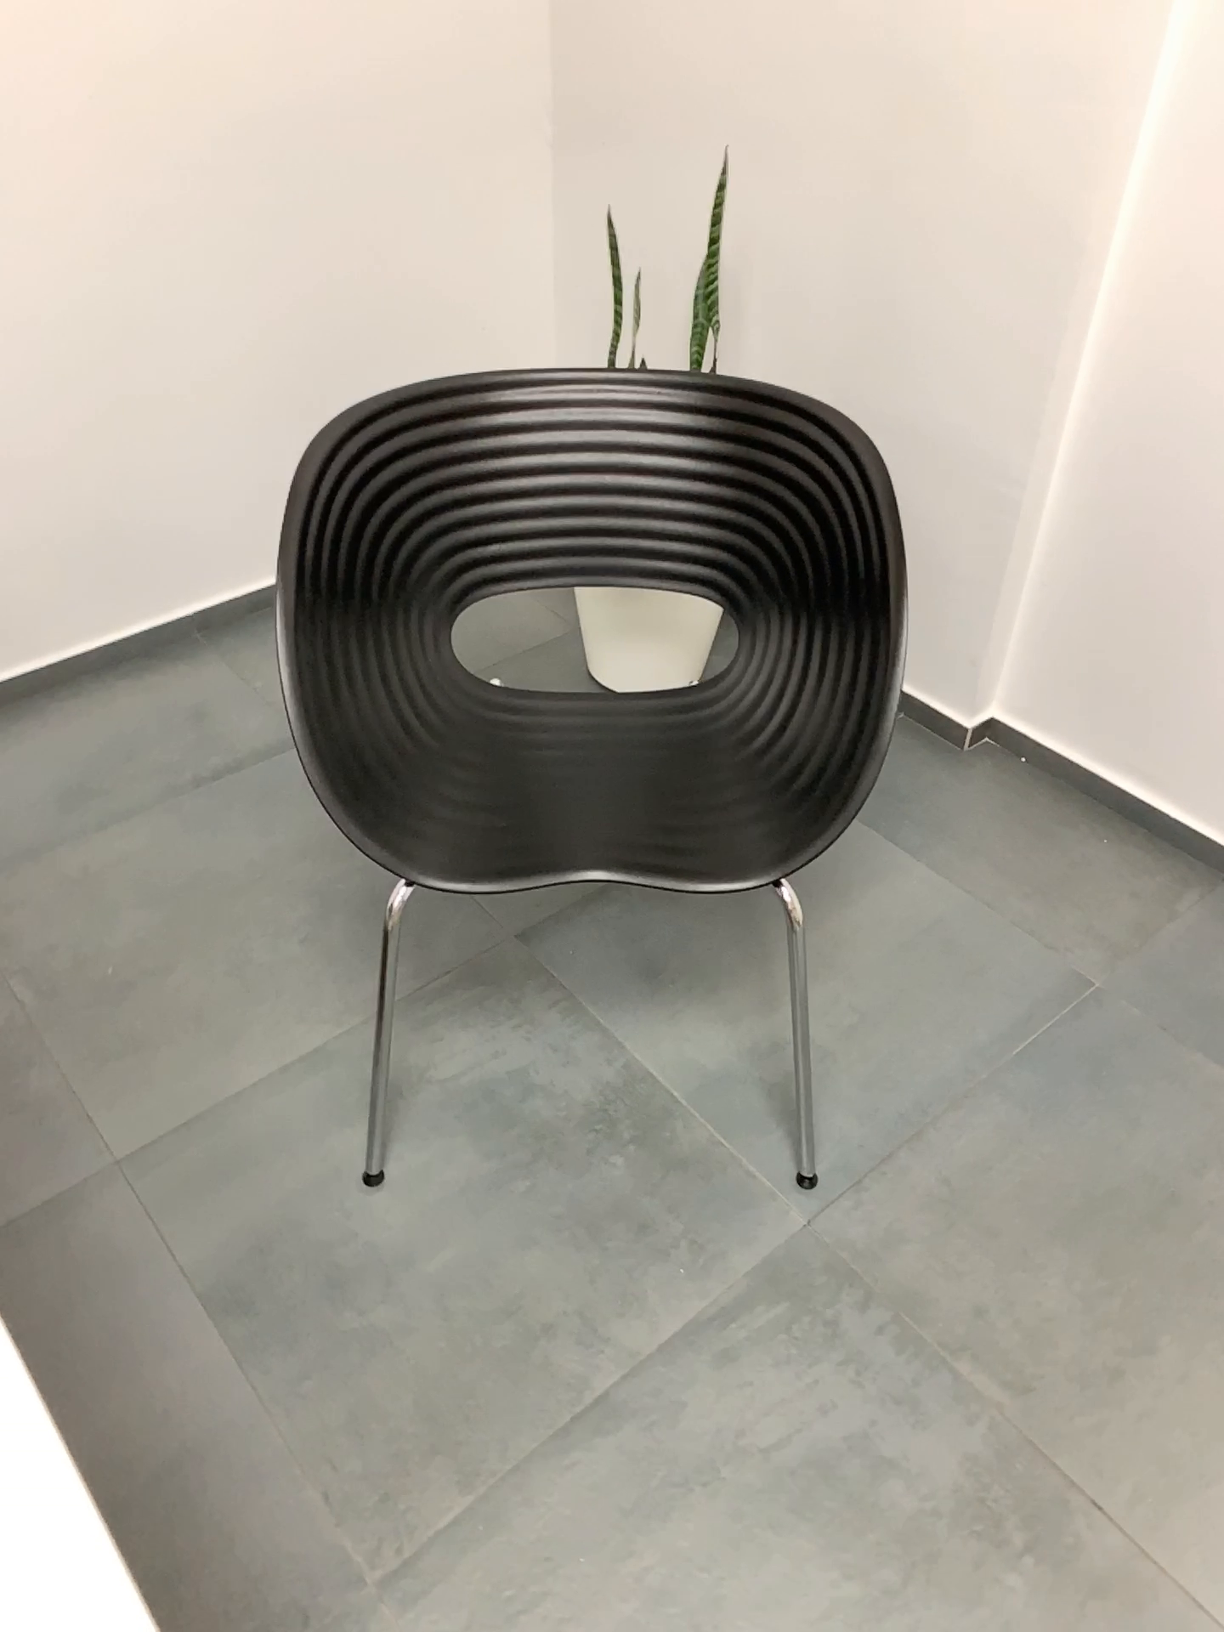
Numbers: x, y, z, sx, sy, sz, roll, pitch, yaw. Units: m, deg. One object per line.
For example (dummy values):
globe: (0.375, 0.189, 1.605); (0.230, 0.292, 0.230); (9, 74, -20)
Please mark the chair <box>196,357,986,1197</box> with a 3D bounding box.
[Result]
chair: (-0.023, -0.041, 1.528); (0.650, 0.796, 0.644); (1, 41, -1)
